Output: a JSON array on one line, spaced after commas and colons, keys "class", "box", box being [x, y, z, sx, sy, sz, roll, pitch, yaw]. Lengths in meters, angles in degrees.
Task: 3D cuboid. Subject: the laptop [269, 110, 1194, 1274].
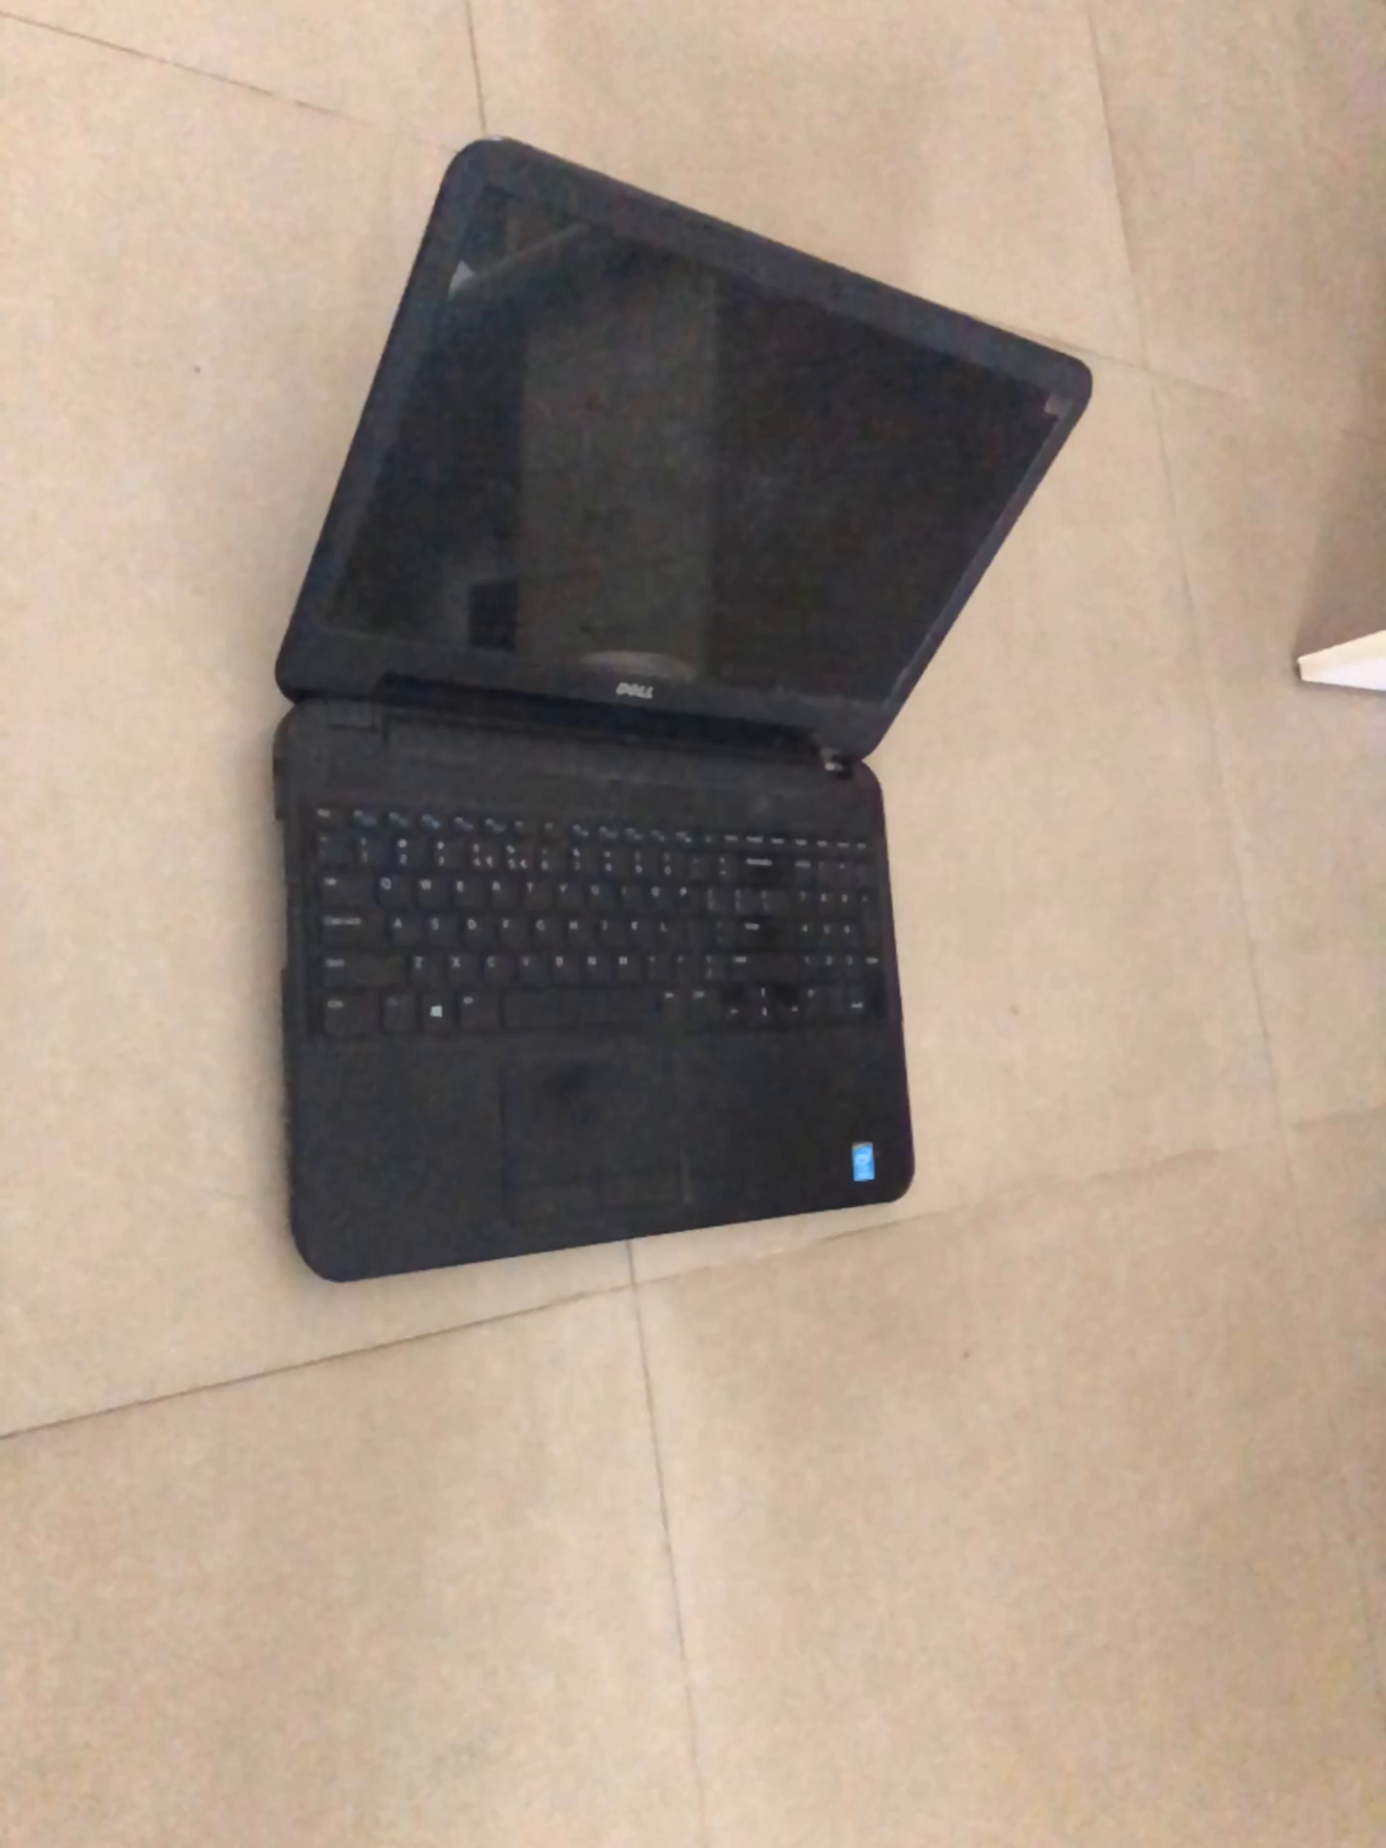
[{"class": "laptop", "box": [0.020, -0.073, 0.687, 0.344, 0.178, 0.405, 0, 81, -38]}]
